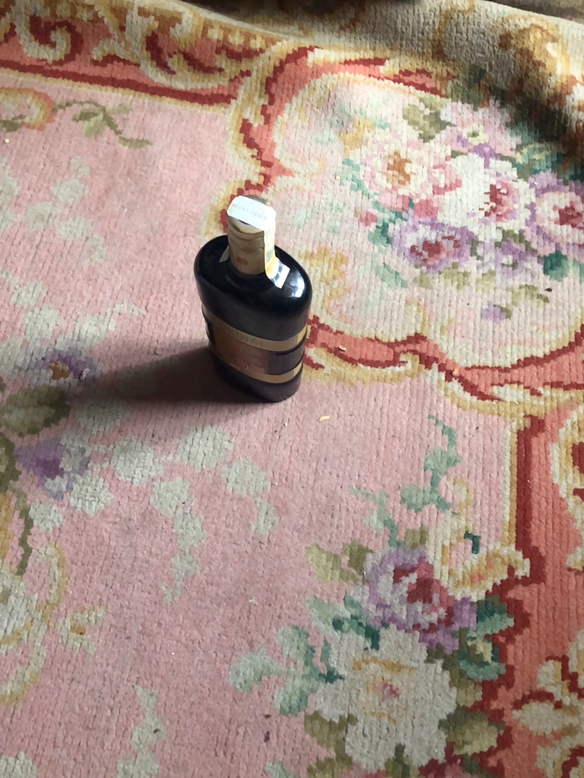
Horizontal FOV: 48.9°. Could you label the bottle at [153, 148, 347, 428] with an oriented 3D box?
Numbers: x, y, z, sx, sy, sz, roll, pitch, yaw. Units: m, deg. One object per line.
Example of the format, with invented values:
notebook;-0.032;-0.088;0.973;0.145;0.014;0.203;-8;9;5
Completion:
bottle;-0.030;-0.056;0.481;0.100;0.239;0.050;29;69;9
